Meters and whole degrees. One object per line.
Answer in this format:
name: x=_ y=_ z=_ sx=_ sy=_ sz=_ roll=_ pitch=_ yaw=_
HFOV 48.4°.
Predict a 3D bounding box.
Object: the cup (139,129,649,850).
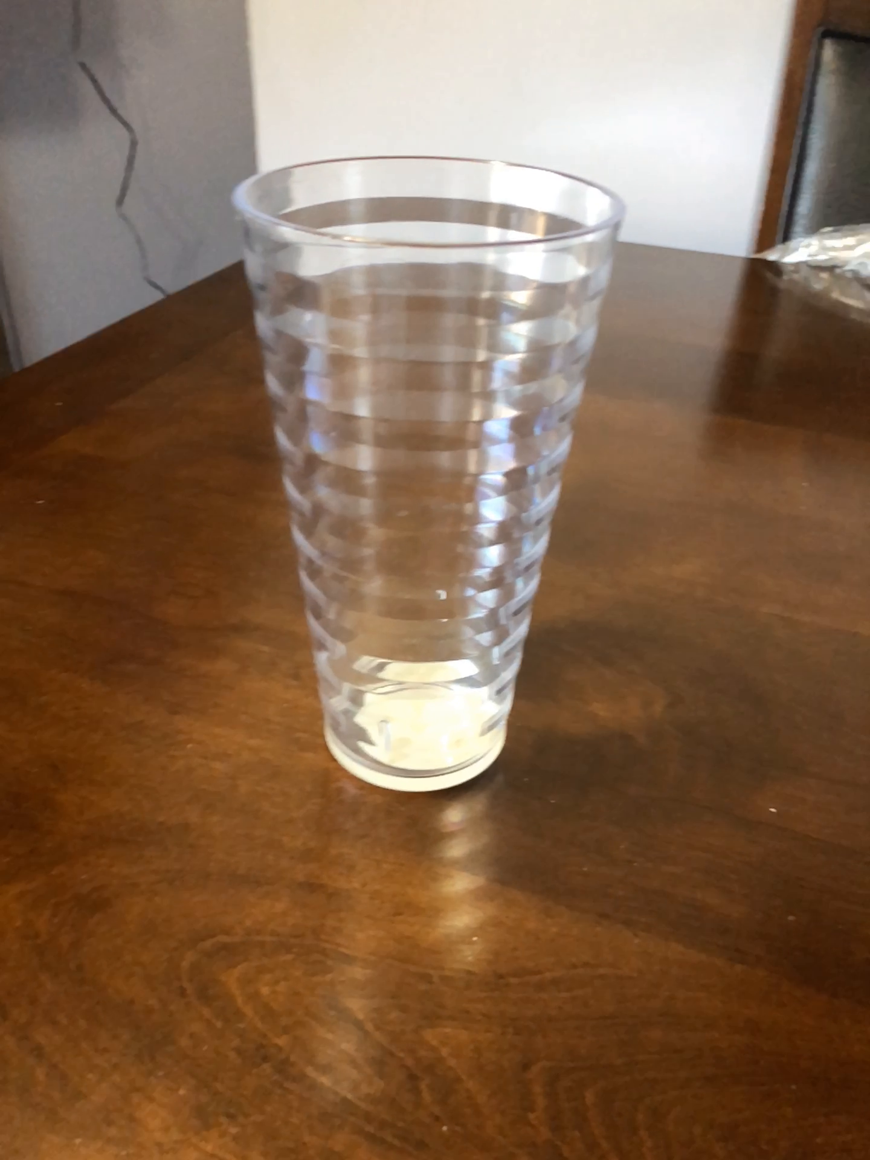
cup: x=-0.006 y=-0.030 z=0.298 sx=0.100 sy=0.179 sz=0.100 roll=1 pitch=33 yaw=-1
